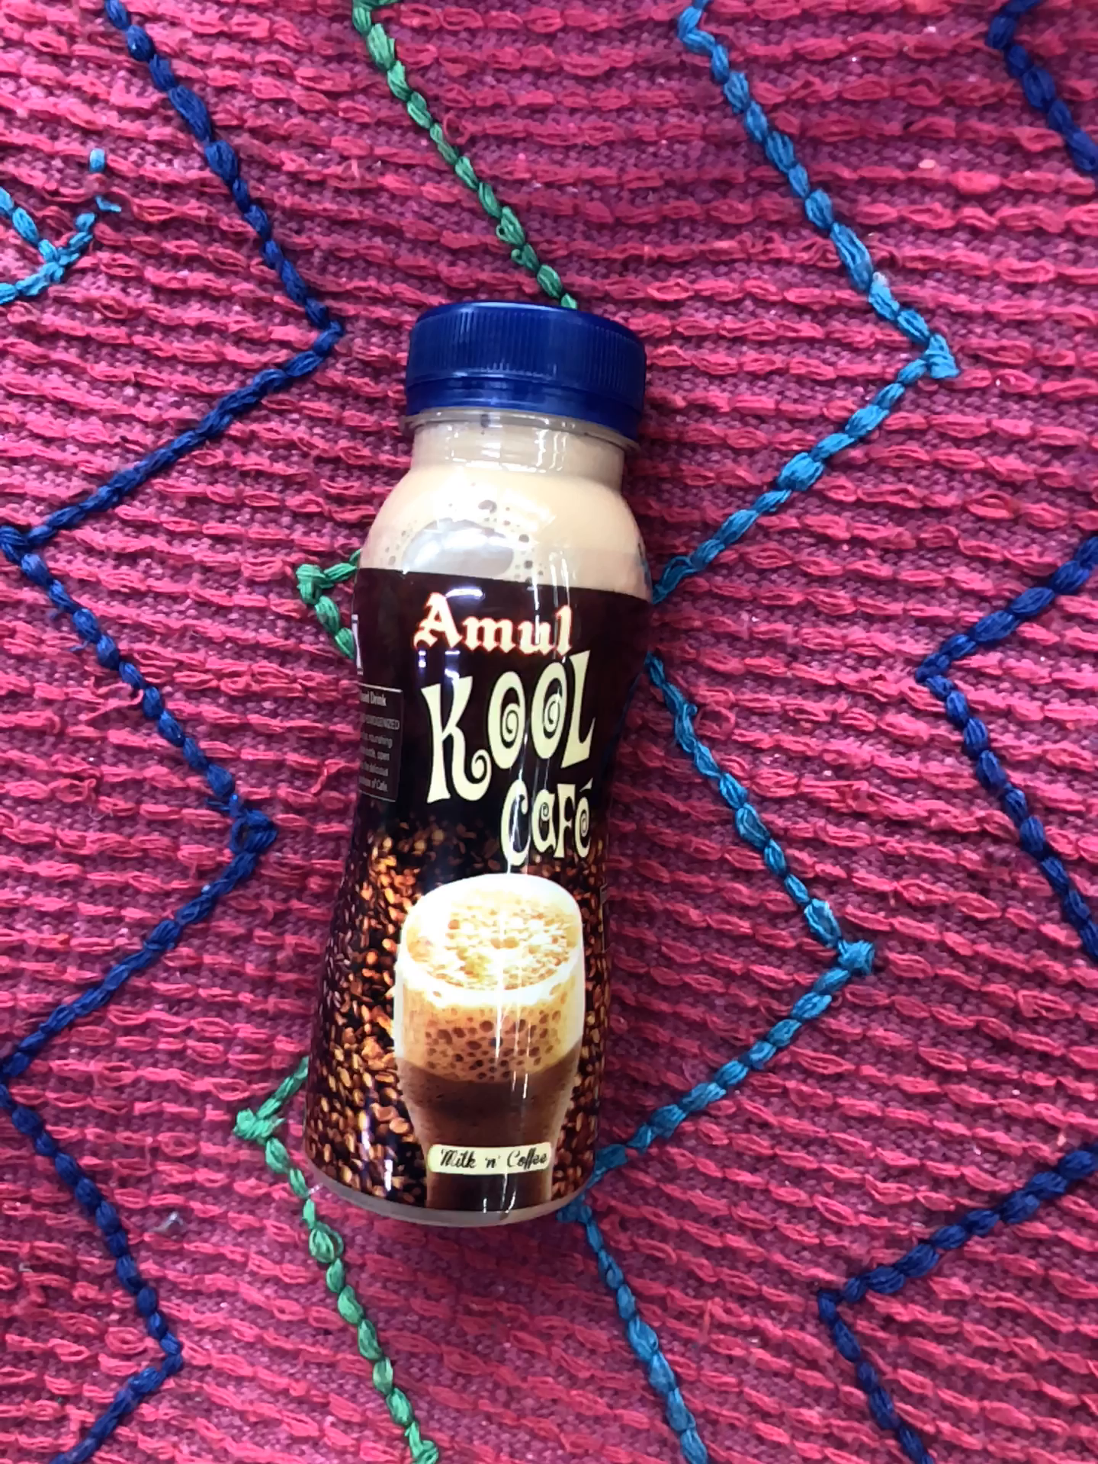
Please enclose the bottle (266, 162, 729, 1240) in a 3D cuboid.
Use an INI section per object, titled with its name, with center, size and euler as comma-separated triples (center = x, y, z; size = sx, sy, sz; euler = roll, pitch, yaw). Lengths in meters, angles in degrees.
[bottle]
center = -0.012, -0.004, 0.208
size = 0.050, 0.060, 0.150
euler = 4, 91, -23
